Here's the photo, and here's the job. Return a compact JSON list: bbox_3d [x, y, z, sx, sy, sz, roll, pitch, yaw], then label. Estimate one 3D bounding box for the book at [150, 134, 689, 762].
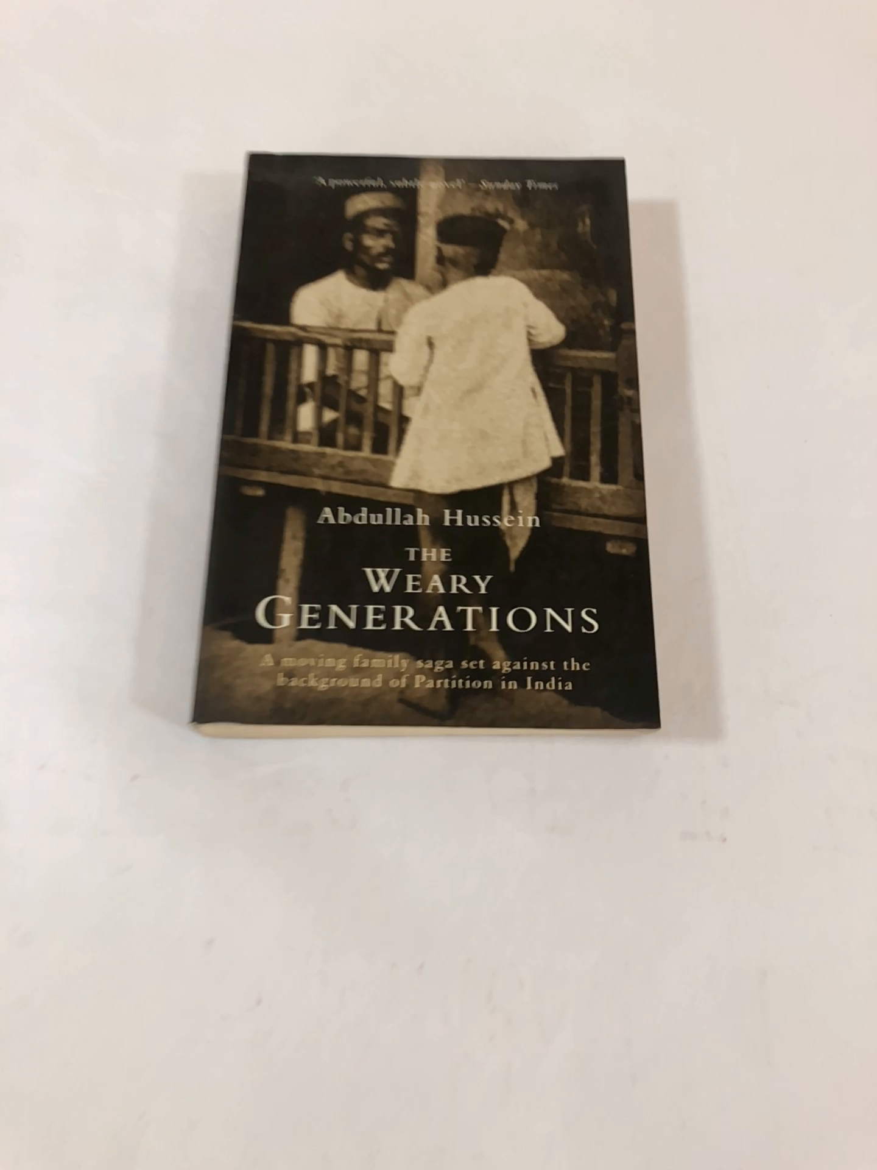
[{"bbox_3d":[-0.003,-0.049,0.303,0.140,0.030,0.200,1,70,0],"label":"book"}]
